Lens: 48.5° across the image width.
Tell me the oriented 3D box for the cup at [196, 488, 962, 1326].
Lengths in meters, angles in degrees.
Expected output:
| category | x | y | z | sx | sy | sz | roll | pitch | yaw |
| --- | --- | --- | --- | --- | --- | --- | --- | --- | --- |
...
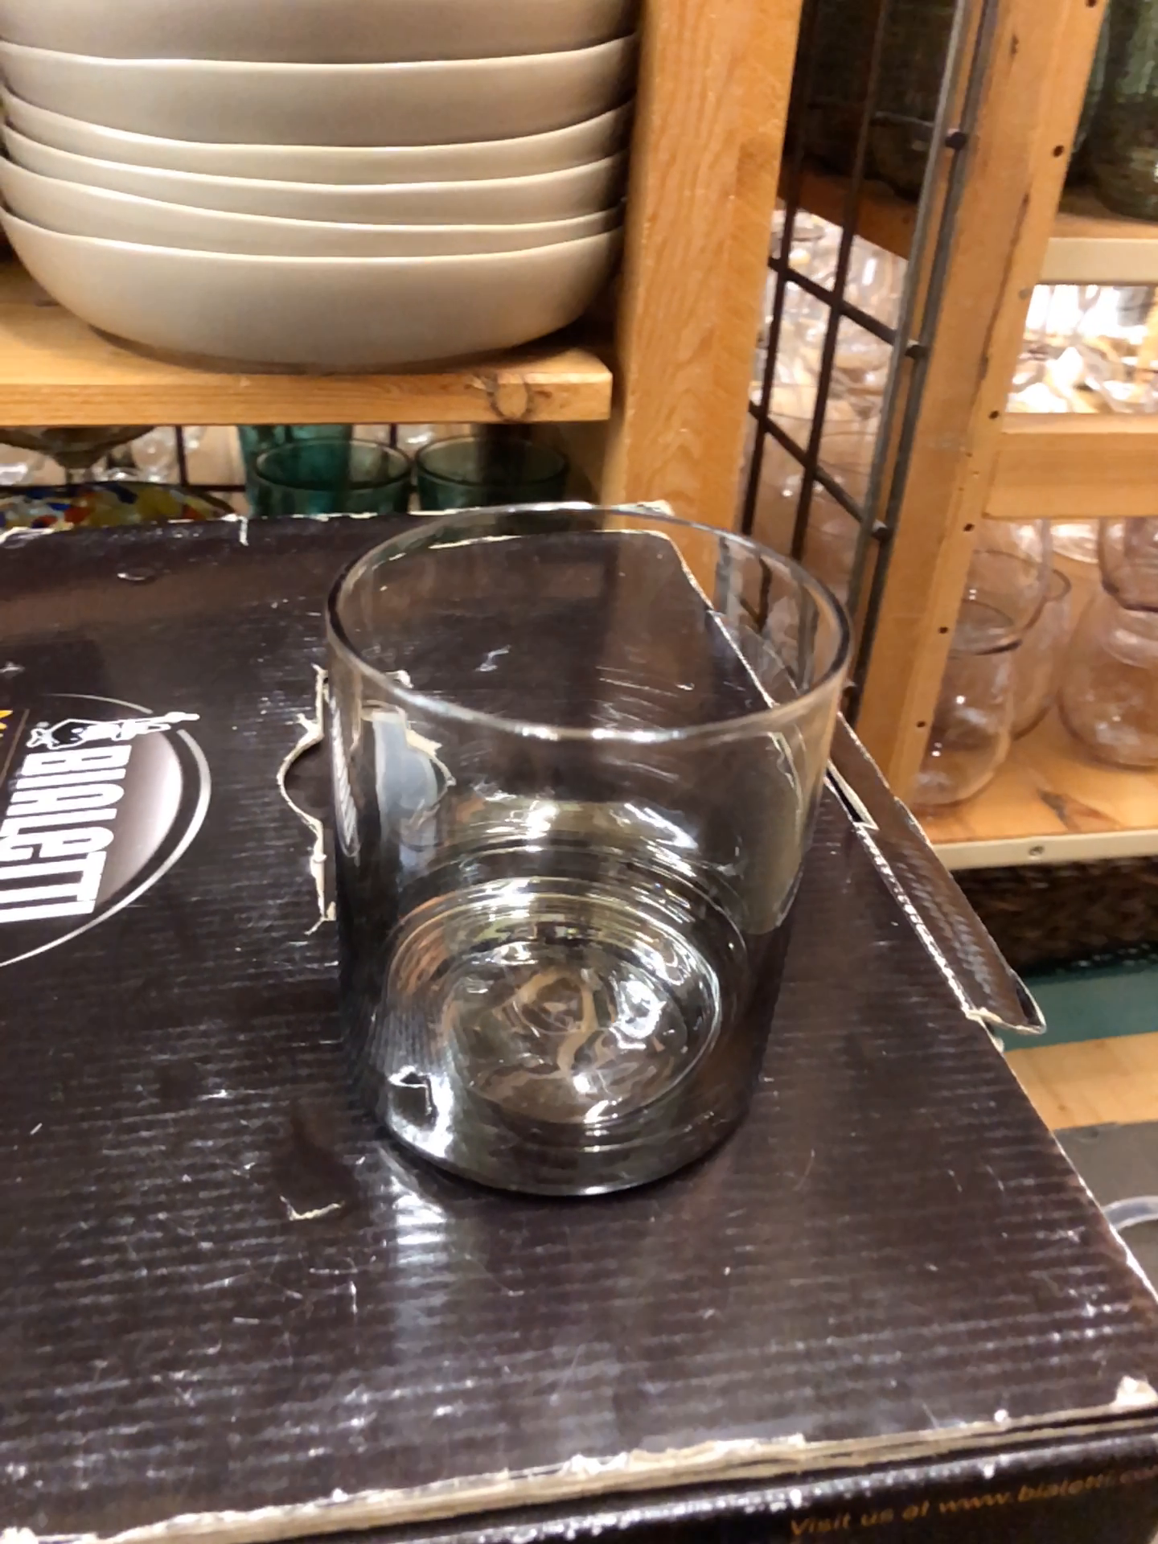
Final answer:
| category | x | y | z | sx | sy | sz | roll | pitch | yaw |
| --- | --- | --- | --- | --- | --- | --- | --- | --- | --- |
| cup | -0.003 | 0.015 | 0.231 | 0.085 | 0.093 | 0.090 | 3 | 32 | -2 |
